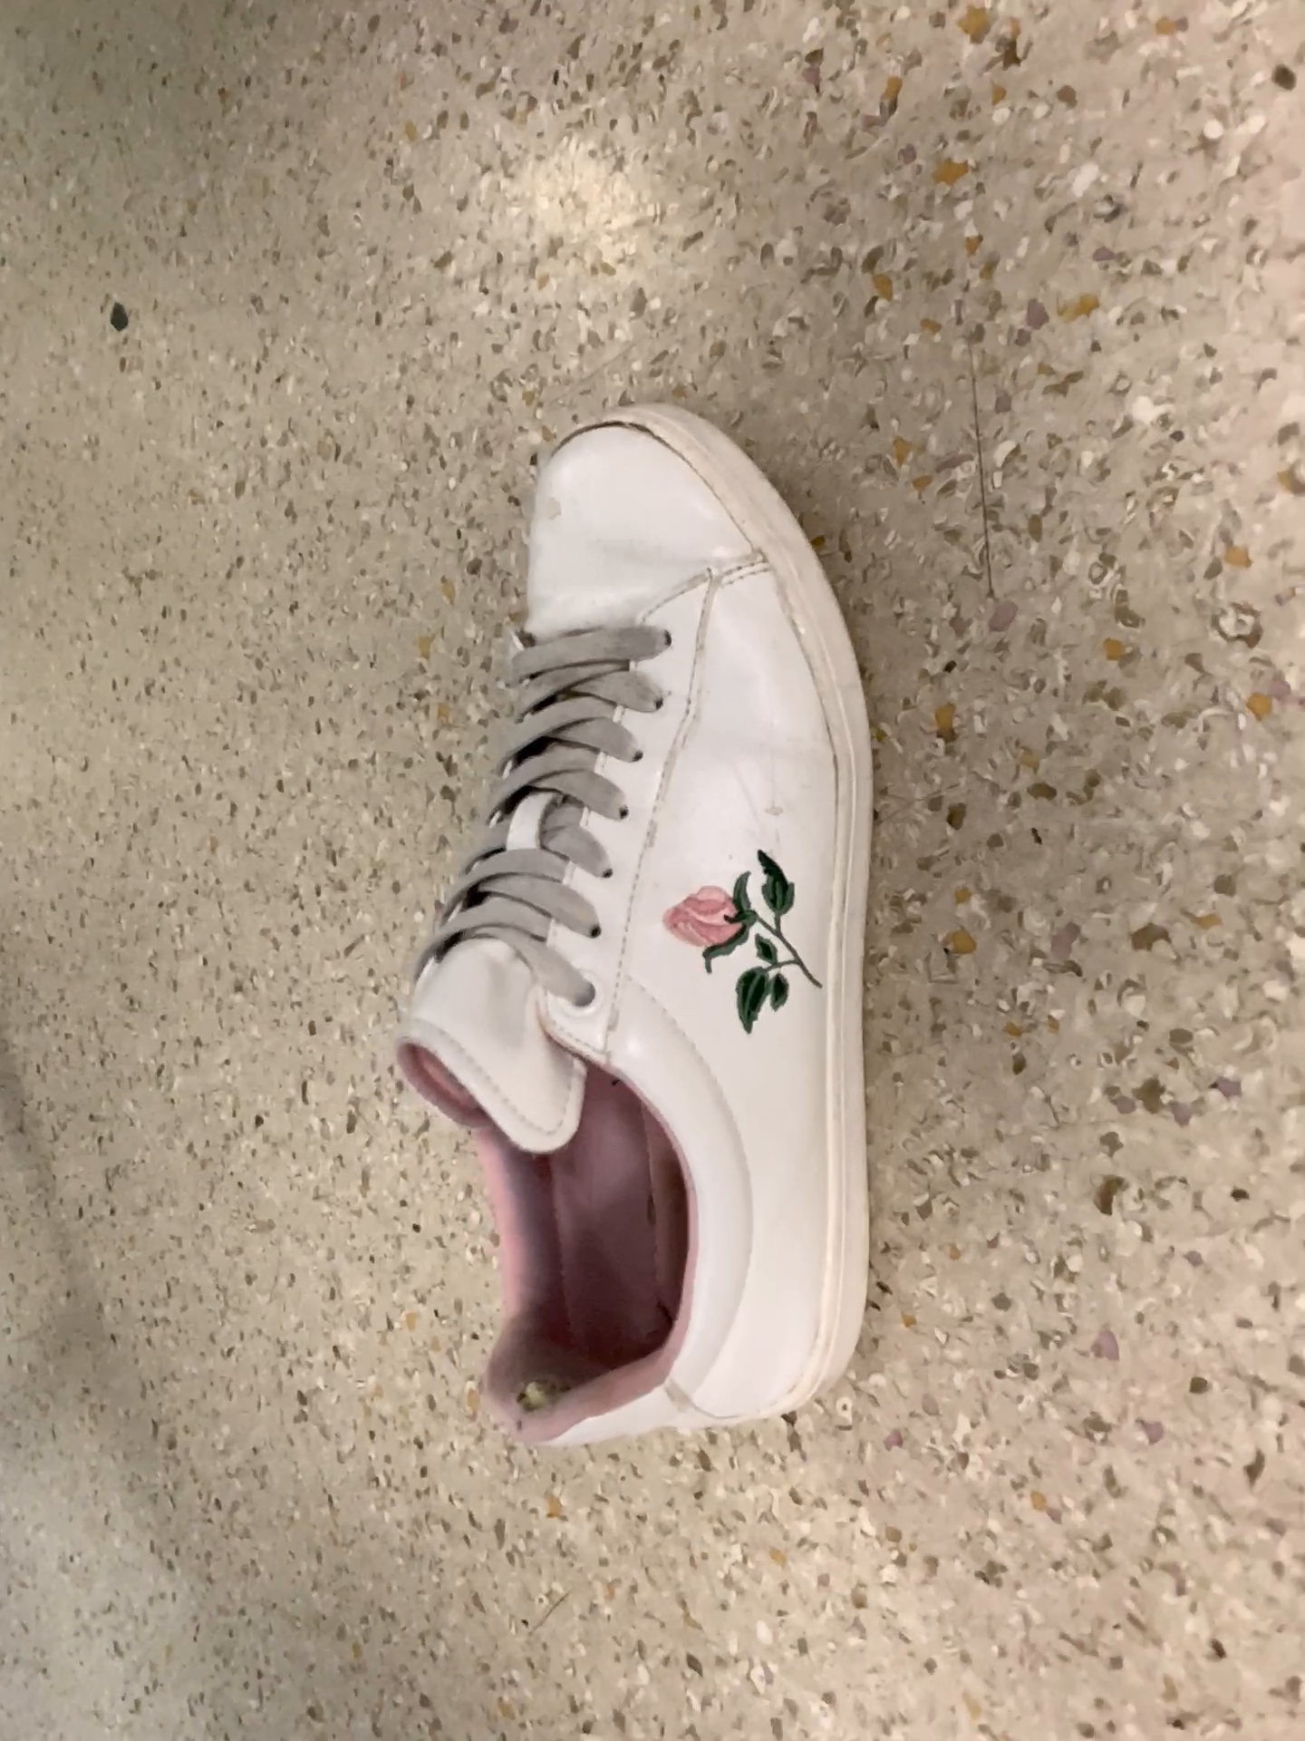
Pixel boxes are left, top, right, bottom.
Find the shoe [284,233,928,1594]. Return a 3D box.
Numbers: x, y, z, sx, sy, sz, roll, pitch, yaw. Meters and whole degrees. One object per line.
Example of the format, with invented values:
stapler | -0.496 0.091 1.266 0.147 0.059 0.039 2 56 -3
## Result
shoe | -0.012 0.008 0.317 0.099 0.092 0.255 -5 89 44
